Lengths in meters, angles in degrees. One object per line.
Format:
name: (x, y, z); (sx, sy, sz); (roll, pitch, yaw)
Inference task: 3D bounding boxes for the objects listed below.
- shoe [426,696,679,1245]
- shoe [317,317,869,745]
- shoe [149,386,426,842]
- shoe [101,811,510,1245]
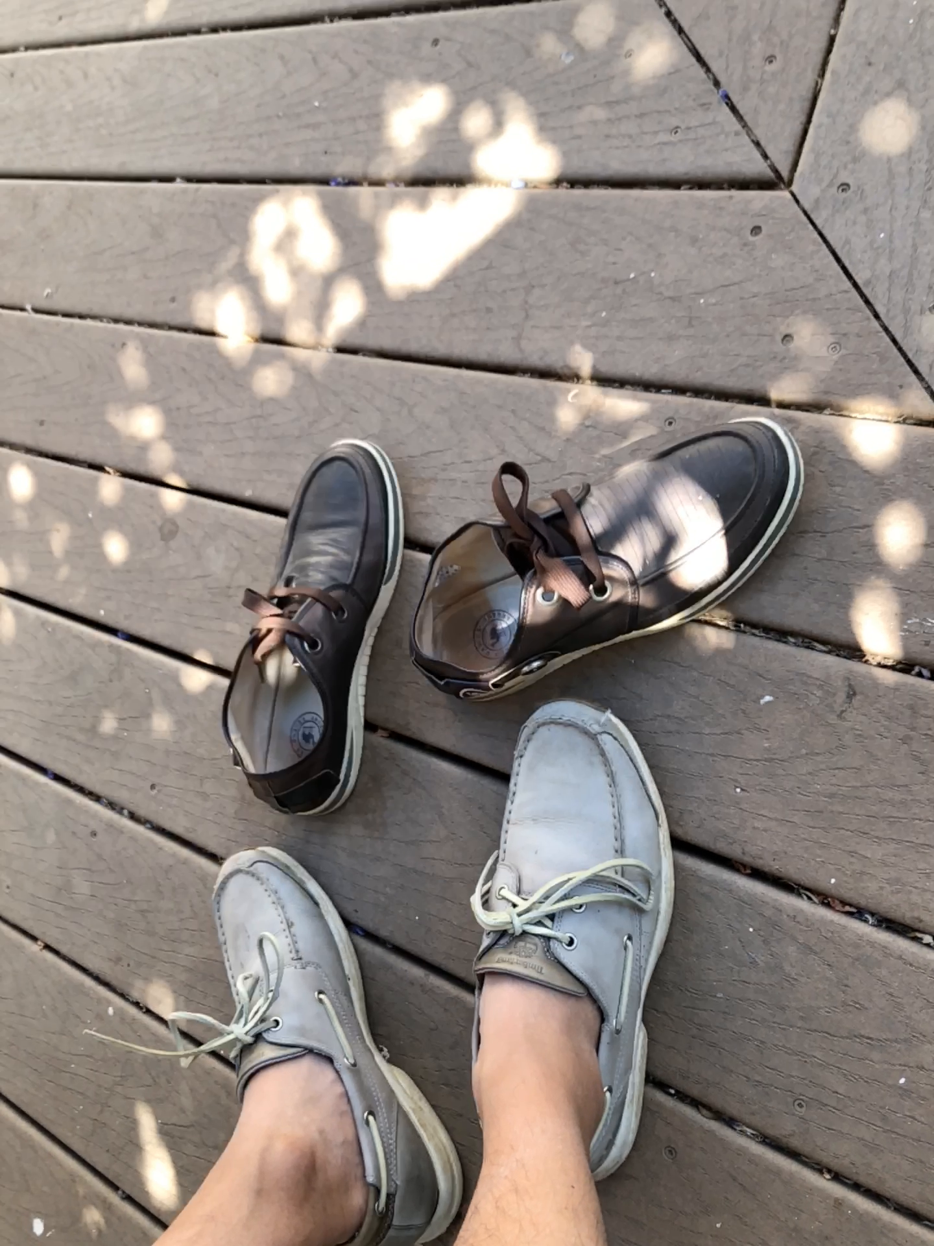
shoe: (0.056, 0.200, 0.619); (0.110, 0.111, 0.303); (-3, 81, 30)
shoe: (0.070, -0.038, 0.638); (0.304, 0.111, 0.110); (-30, 69, 24)
shoe: (-0.127, -0.006, 0.751); (0.110, 0.111, 0.303); (6, 86, 31)
shoe: (-0.118, 0.288, 0.710); (0.110, 0.111, 0.304); (-45, 64, 17)
